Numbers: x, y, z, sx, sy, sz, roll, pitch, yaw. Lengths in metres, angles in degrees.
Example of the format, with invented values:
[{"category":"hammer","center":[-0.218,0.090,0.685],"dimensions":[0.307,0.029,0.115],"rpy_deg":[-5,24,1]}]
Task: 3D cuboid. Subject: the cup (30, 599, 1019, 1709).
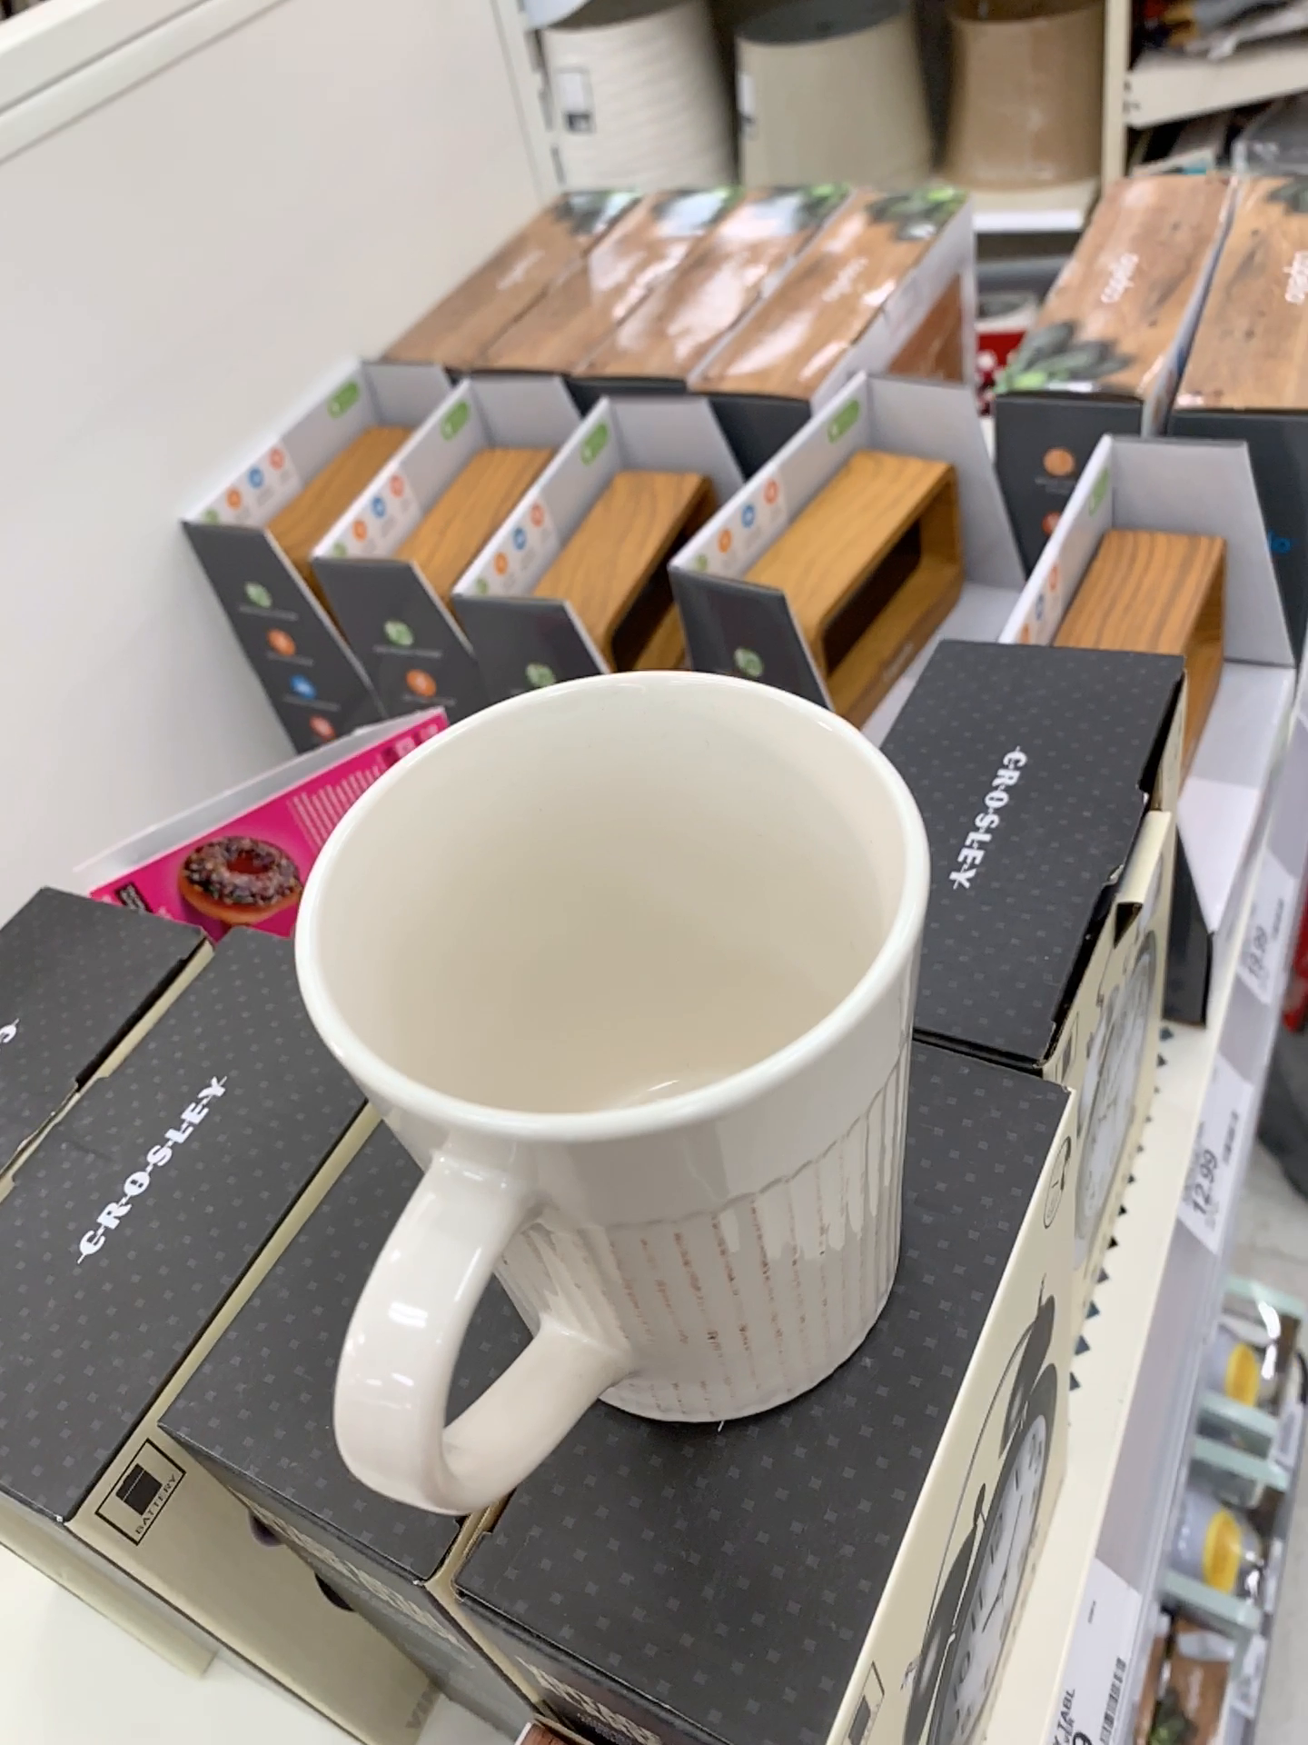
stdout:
[{"category":"cup","center":[-0.005,0.037,0.217],"dimensions":[0.084,0.099,0.117],"rpy_deg":[18,50,27]}]
